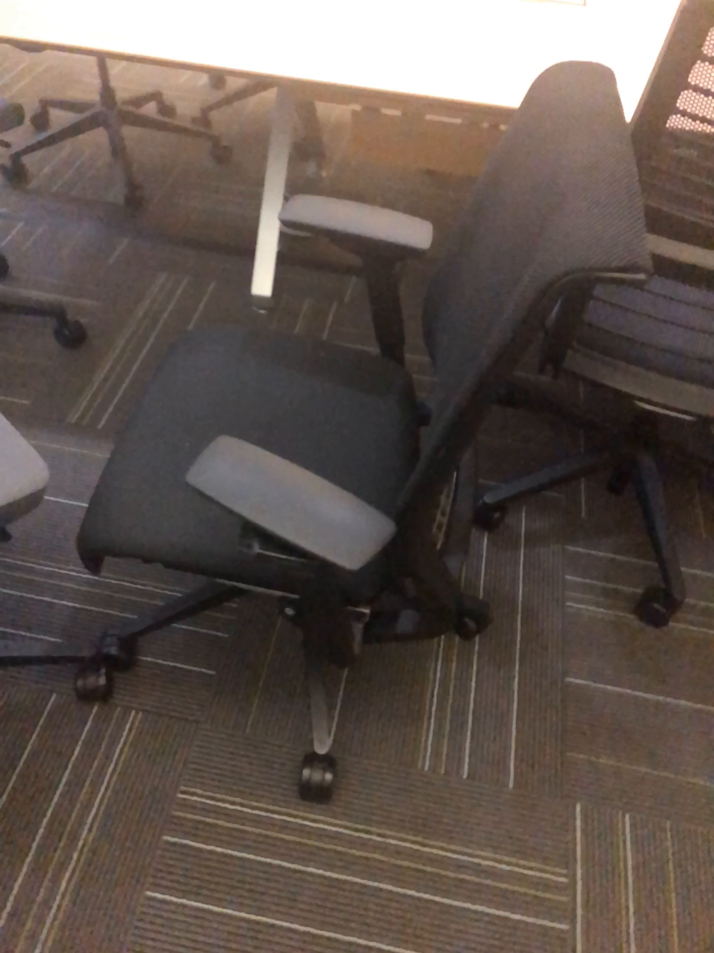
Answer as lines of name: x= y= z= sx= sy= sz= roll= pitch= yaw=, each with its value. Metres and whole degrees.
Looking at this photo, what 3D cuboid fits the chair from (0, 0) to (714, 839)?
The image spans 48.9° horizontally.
chair: x=-0.063 y=-0.068 z=1.203 sx=0.730 sy=0.992 sz=0.726 roll=9 pitch=45 yaw=5
